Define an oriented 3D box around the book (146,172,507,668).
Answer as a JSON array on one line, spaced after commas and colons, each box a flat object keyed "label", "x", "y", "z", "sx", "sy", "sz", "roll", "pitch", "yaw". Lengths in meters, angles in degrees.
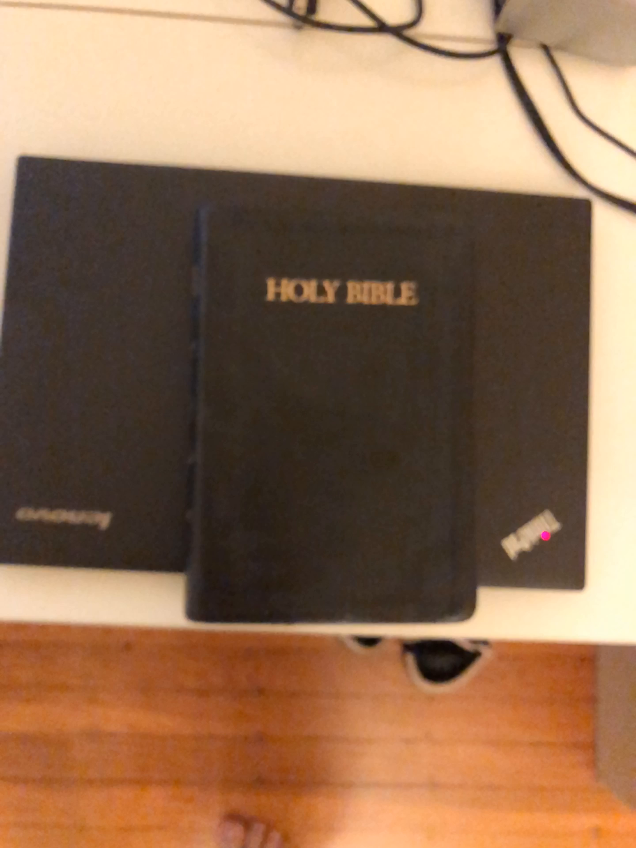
[{"label": "book", "x": 0.006, "y": -0.003, "z": 0.372, "sx": 0.170, "sy": 0.040, "sz": 0.240, "roll": 1, "pitch": 83, "yaw": -3}]
